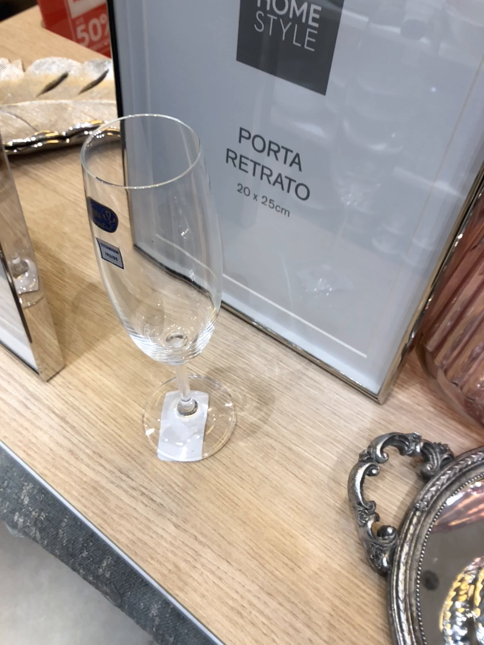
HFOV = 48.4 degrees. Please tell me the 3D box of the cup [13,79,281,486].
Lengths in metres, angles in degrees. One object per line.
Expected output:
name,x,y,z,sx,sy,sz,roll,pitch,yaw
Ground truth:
cup,-0.034,0.001,0.287,0.070,0.219,0.070,0,53,0
